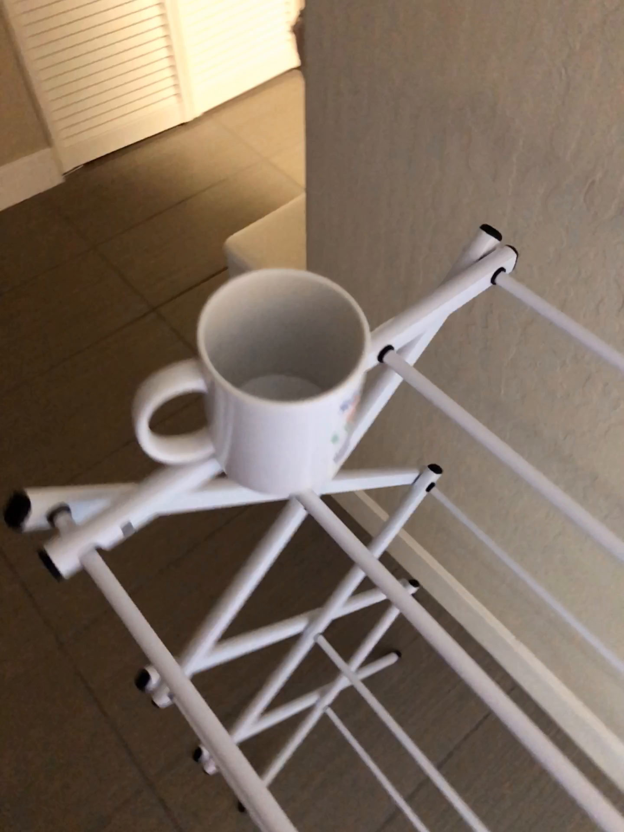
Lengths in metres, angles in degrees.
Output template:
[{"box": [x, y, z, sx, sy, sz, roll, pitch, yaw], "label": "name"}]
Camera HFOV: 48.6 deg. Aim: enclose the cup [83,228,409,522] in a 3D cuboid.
[{"box": [-0.036, -0.021, 0.356, 0.130, 0.090, 0.090, -14, 60, -14], "label": "cup"}]
